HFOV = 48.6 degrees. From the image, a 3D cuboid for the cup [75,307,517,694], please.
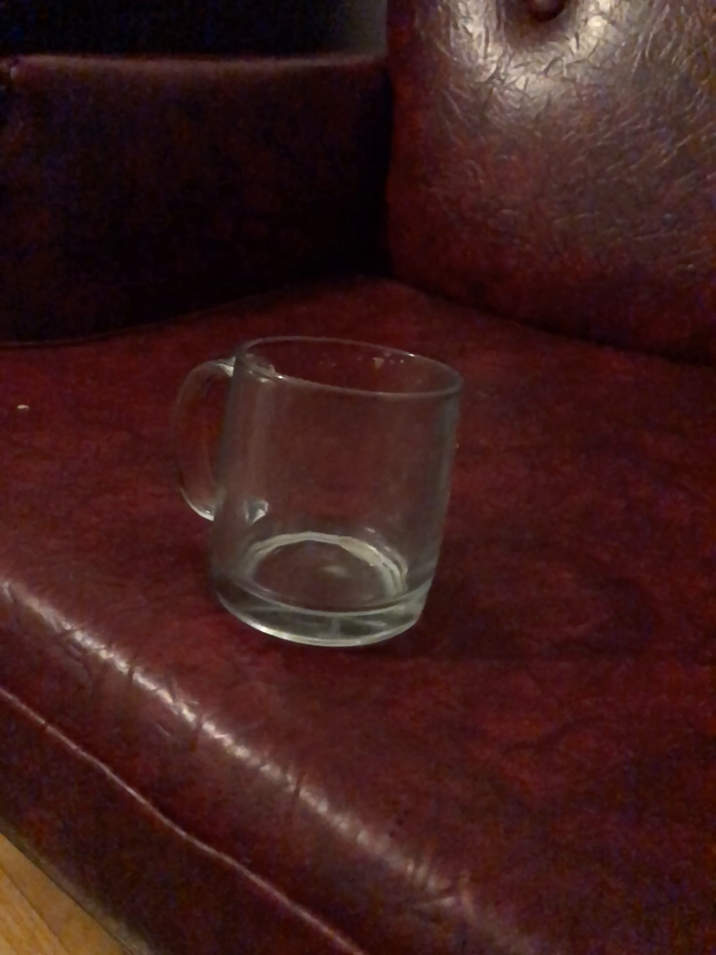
[{"bbox_3d":[-0.025,-0.004,0.298,0.128,0.089,0.090,19,22,26],"label":"cup"}]
